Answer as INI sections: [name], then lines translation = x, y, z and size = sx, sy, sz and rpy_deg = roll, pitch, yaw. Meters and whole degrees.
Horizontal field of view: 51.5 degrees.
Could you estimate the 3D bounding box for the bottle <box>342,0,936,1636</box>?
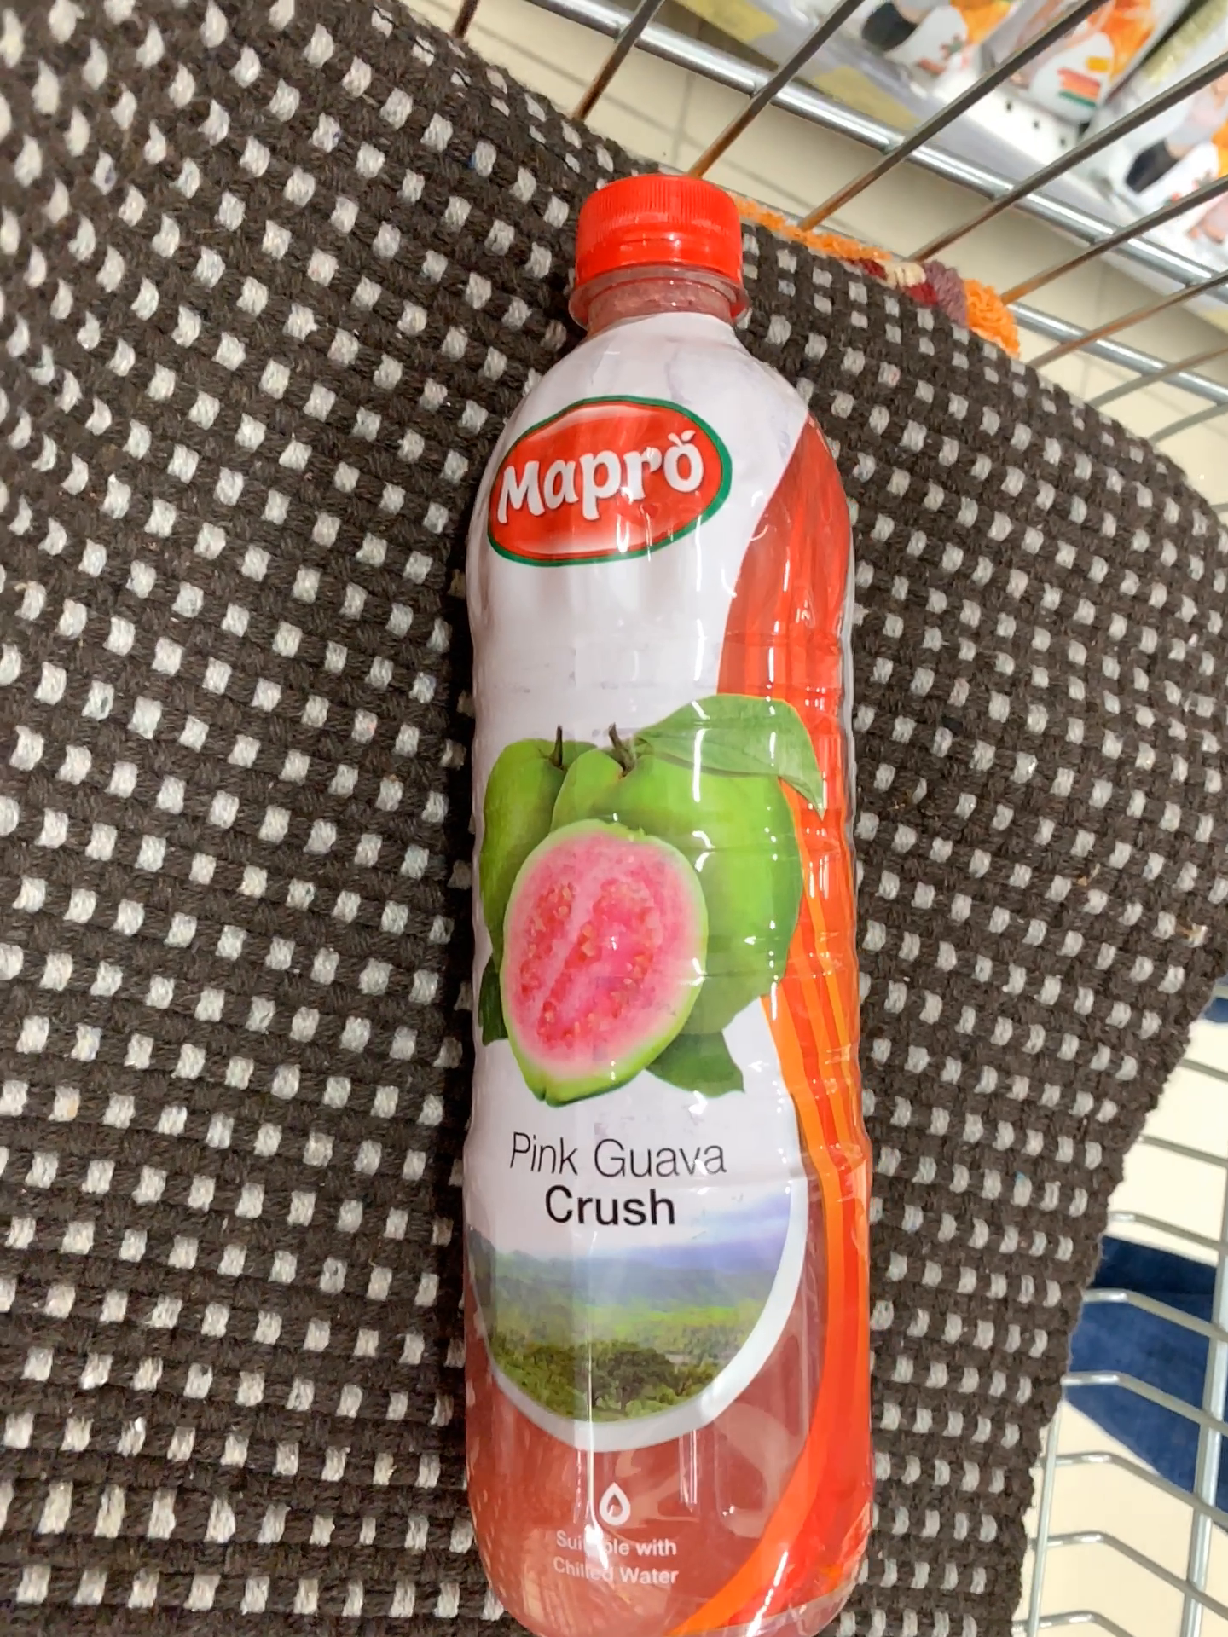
[bottle]
translation = 0.007, 0.004, 0.212
size = 0.070, 0.070, 0.240
rpy_deg = 9, 78, -71
